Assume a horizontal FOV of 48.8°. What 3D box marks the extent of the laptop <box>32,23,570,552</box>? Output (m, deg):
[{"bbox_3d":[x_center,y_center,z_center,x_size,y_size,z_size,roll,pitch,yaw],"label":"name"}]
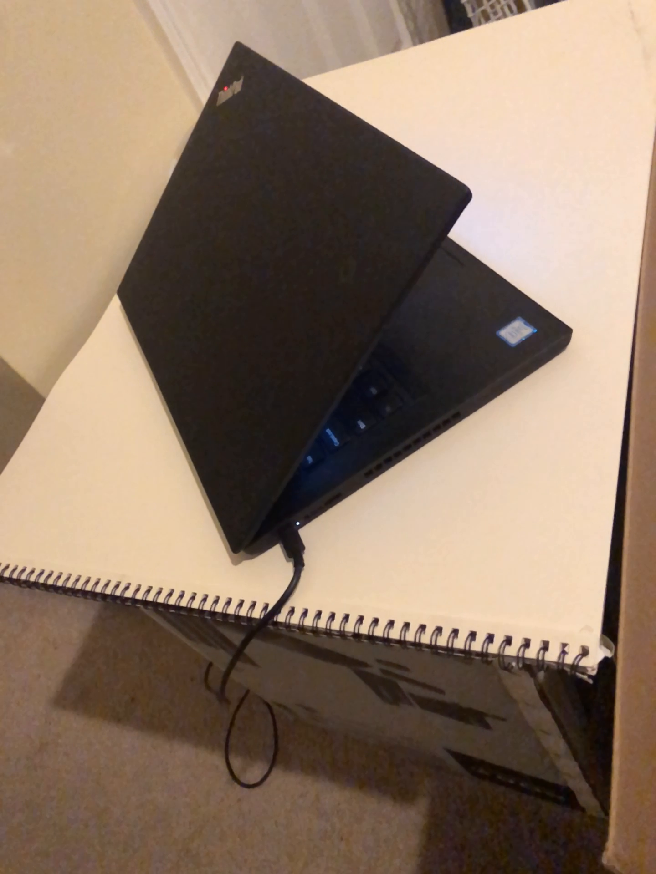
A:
[{"bbox_3d":[-0.044,-0.126,0.478,0.226,0.115,0.319,-34,45,0],"label":"laptop"}]
